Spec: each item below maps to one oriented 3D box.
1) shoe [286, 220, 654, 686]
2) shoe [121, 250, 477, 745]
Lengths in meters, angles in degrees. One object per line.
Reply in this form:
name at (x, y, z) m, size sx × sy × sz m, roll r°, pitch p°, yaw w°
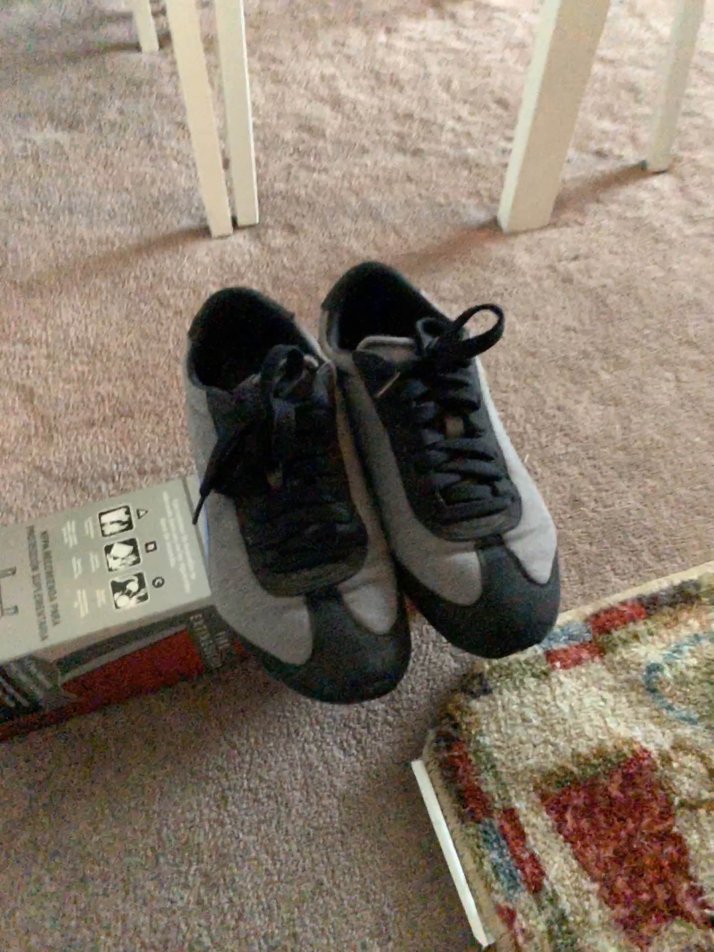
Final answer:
shoe at (0.047, -0.026, 0.420) m, size 0.100 × 0.077 × 0.251 m, roll -18°, pitch 59°, yaw -8°
shoe at (-0.042, -0.001, 0.393) m, size 0.110 × 0.077 × 0.241 m, roll -15°, pitch 61°, yaw -13°
